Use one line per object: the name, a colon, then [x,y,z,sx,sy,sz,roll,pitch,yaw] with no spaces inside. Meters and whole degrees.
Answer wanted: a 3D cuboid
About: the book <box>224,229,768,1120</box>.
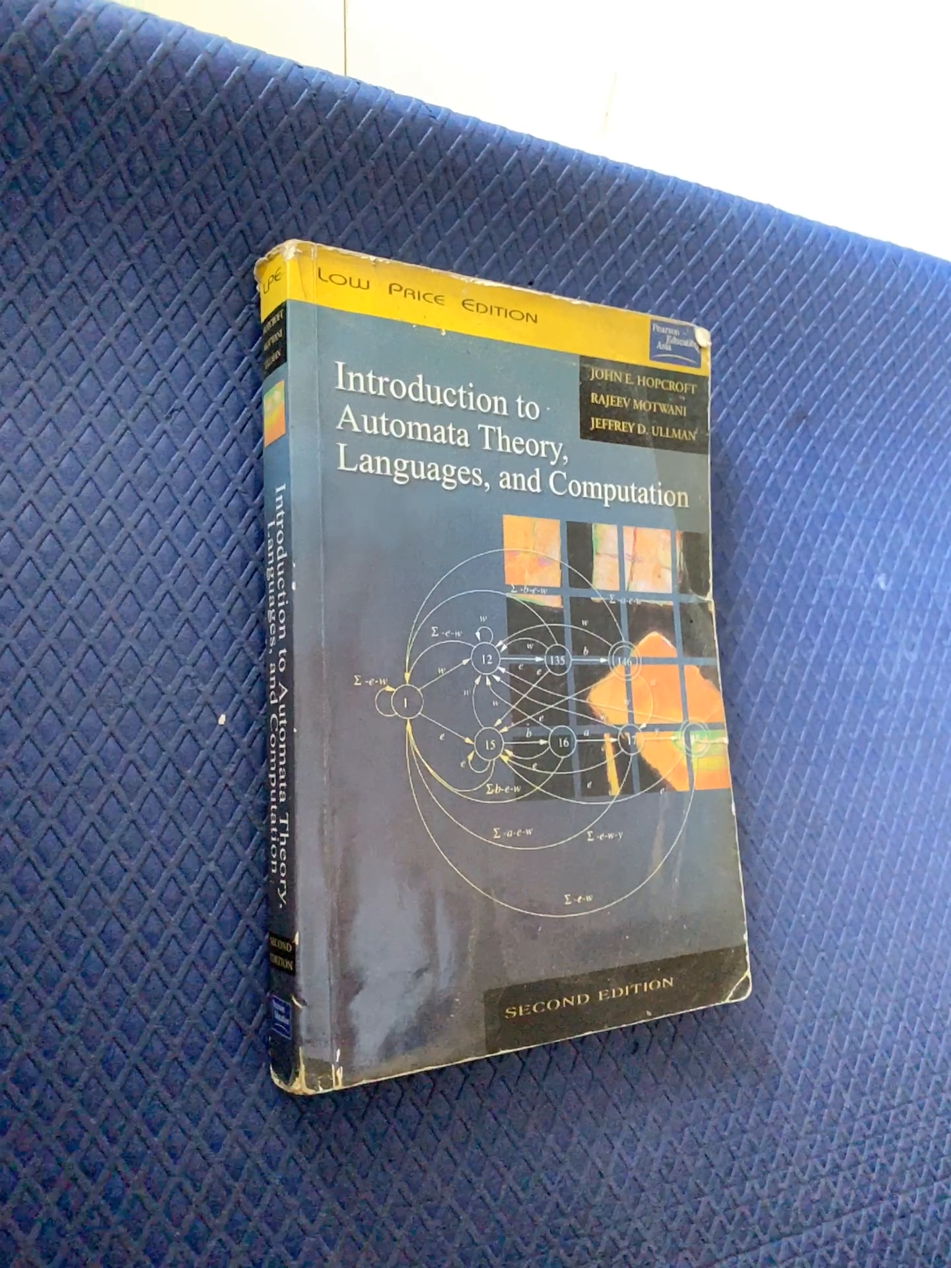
book: [0.006,0.007,0.310,0.151,0.050,0.230,0,81,-29]
